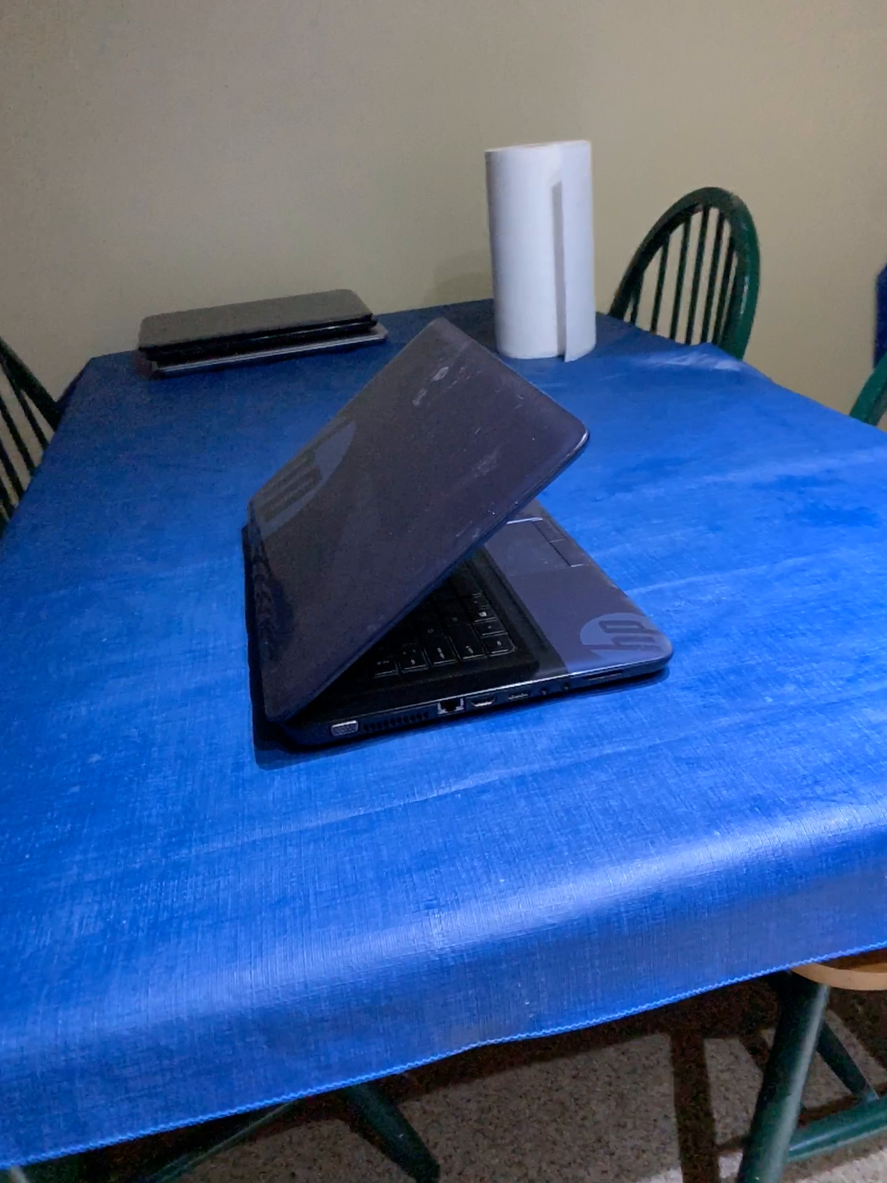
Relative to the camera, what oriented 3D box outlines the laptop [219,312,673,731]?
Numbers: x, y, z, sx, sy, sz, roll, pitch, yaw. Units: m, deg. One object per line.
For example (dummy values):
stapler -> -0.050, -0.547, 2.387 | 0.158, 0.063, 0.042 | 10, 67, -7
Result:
laptop -> -0.025, -0.086, 0.659 | 0.239, 0.141, 0.365 | -10, 28, -10
